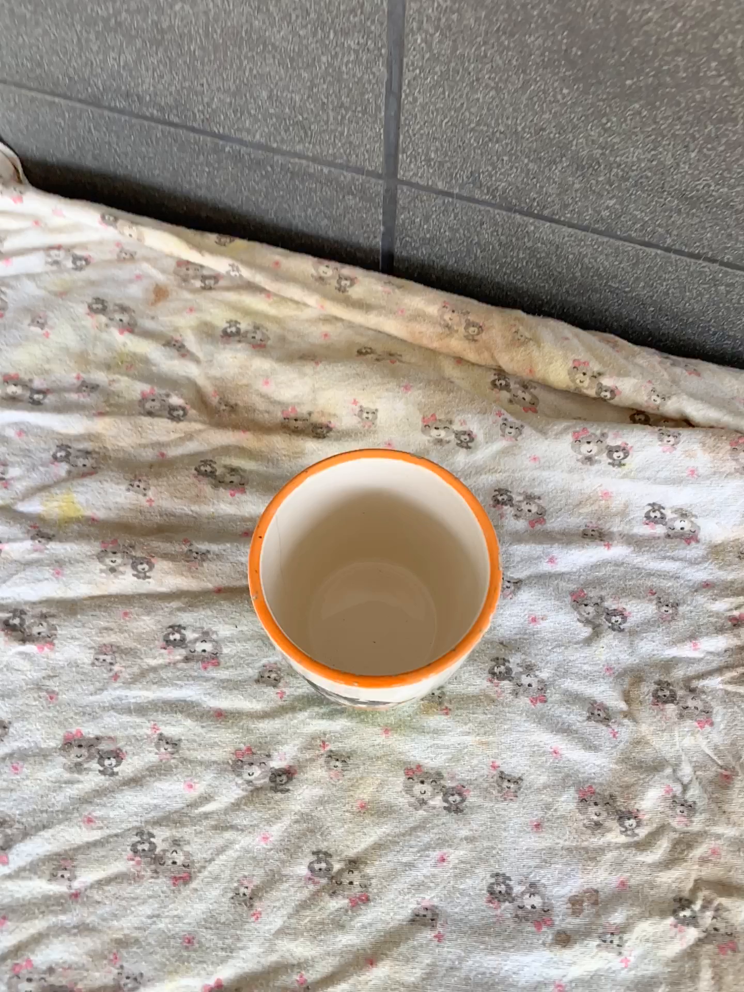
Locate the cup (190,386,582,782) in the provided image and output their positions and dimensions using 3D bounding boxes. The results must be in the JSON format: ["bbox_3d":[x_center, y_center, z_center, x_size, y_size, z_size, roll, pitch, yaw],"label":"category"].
[{"bbox_3d":[0.004,0.035,0.262,0.080,0.090,0.080,0,66,0],"label":"cup"}]
